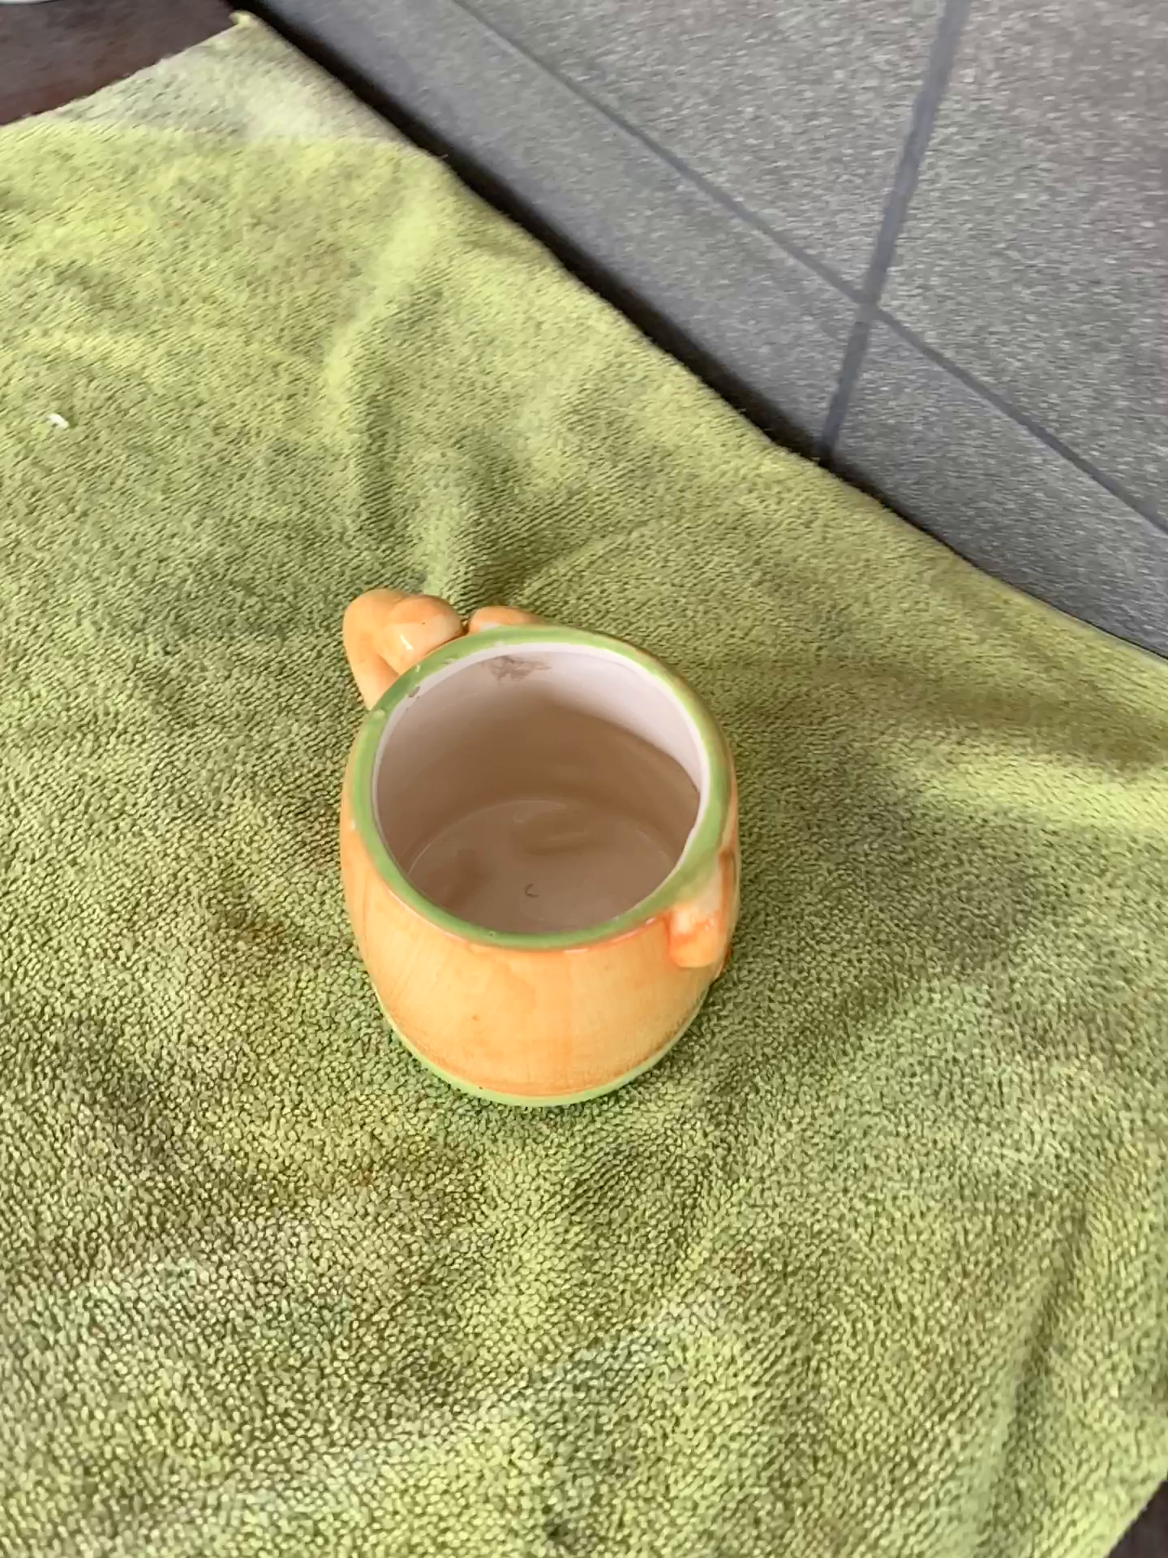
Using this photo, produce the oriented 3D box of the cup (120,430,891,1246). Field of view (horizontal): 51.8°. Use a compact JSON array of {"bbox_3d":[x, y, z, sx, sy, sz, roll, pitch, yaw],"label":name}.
[{"bbox_3d":[-0.020,0.014,0.267,0.080,0.100,0.130,-35,67,-22],"label":"cup"}]
